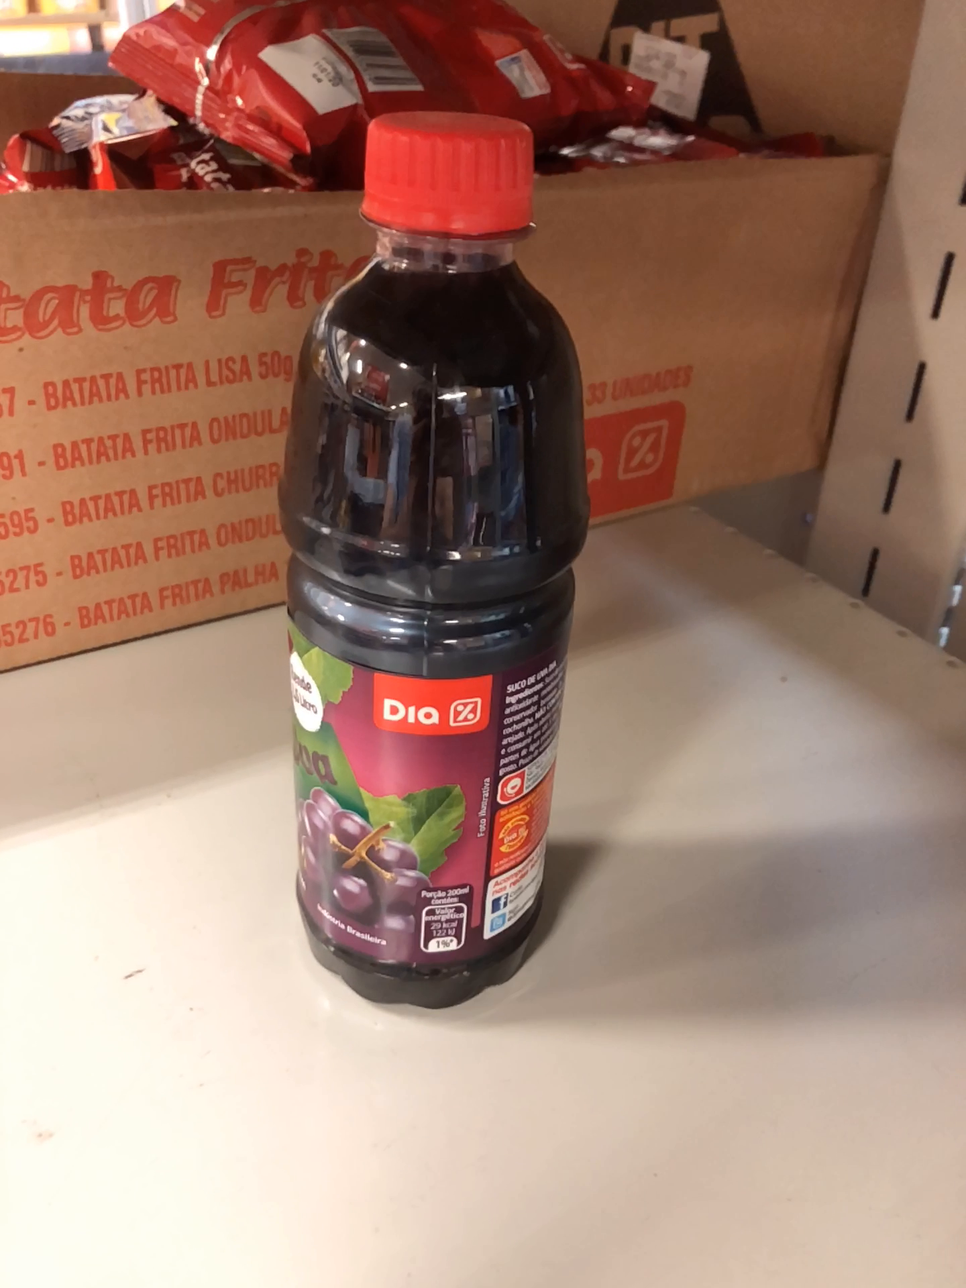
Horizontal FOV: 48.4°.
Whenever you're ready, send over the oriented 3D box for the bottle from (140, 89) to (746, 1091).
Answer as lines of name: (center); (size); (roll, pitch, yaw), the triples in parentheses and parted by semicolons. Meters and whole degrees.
bottle: (-0.009, -0.007, 0.243); (0.080, 0.198, 0.070); (29, 42, 35)
